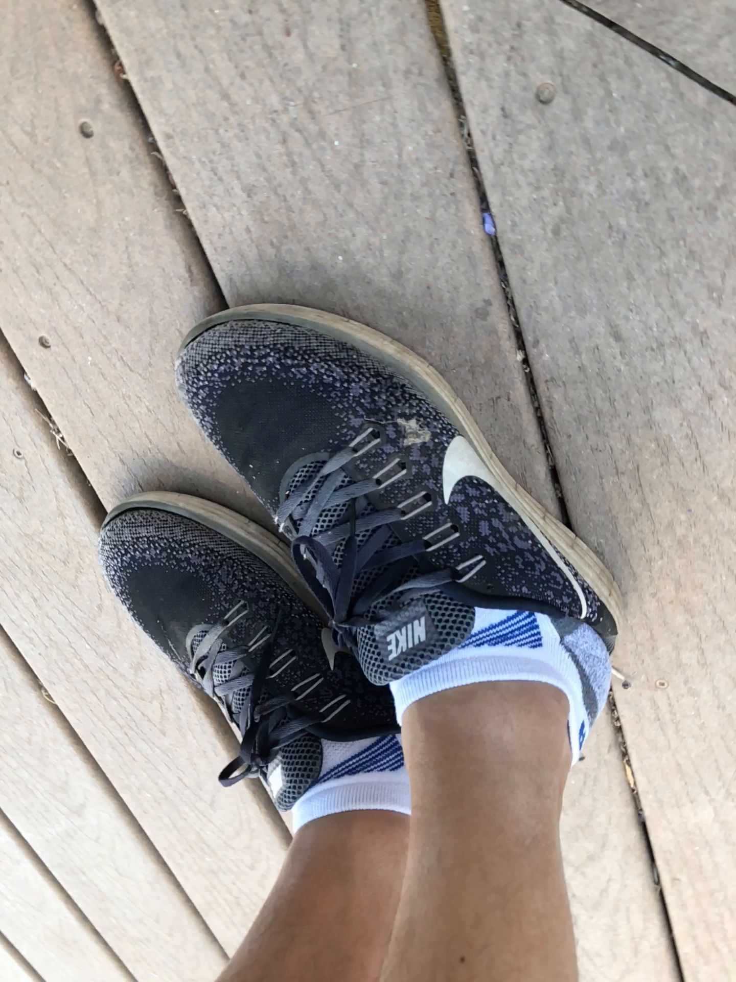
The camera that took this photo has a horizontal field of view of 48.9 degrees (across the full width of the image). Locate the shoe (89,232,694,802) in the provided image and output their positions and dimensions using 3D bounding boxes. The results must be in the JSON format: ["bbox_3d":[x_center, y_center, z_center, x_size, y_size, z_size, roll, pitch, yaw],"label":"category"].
[{"bbox_3d":[0.018,0.017,0.412,0.270,0.100,0.120,39,125,-8],"label":"shoe"}]

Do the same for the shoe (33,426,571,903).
[{"bbox_3d":[-0.034,0.111,0.498,0.300,0.090,0.120,37,125,-6],"label":"shoe"}]

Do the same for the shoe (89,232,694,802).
[{"bbox_3d":[0.018,0.017,0.412,0.270,0.100,0.120,39,125,-8],"label":"shoe"}]
